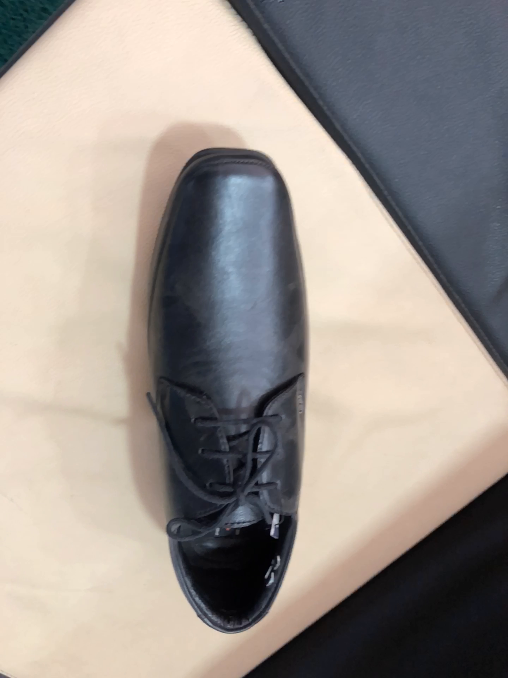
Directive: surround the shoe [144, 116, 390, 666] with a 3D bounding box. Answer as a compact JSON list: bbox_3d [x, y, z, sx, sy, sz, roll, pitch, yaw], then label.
[{"bbox_3d":[-0.011,0.035,0.294,0.090,0.080,0.271,0,114,-11],"label":"shoe"}]
